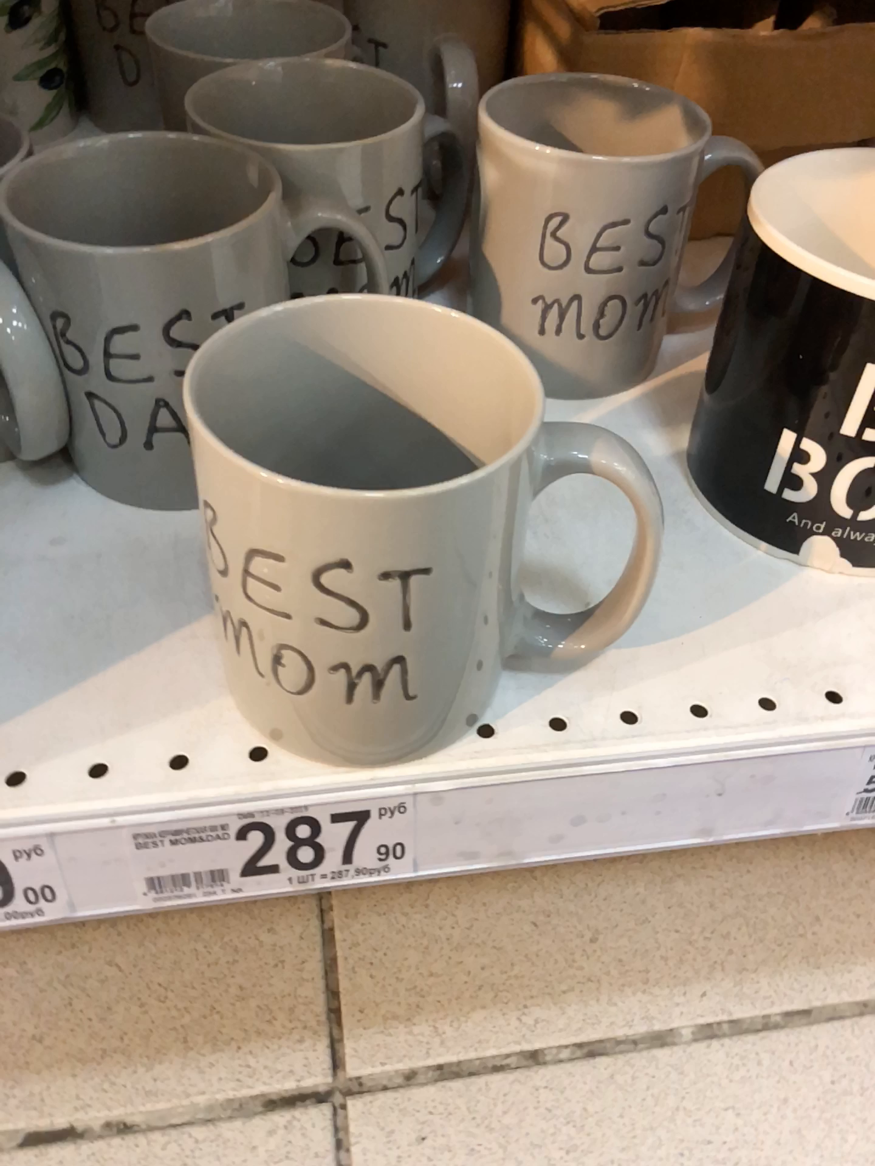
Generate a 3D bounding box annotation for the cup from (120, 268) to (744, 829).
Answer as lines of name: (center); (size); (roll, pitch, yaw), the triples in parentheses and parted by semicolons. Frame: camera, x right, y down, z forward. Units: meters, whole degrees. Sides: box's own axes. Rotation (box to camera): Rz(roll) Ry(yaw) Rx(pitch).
cup: (0.004, -0.012, 0.295); (0.143, 0.121, 0.101); (6, 42, 6)
